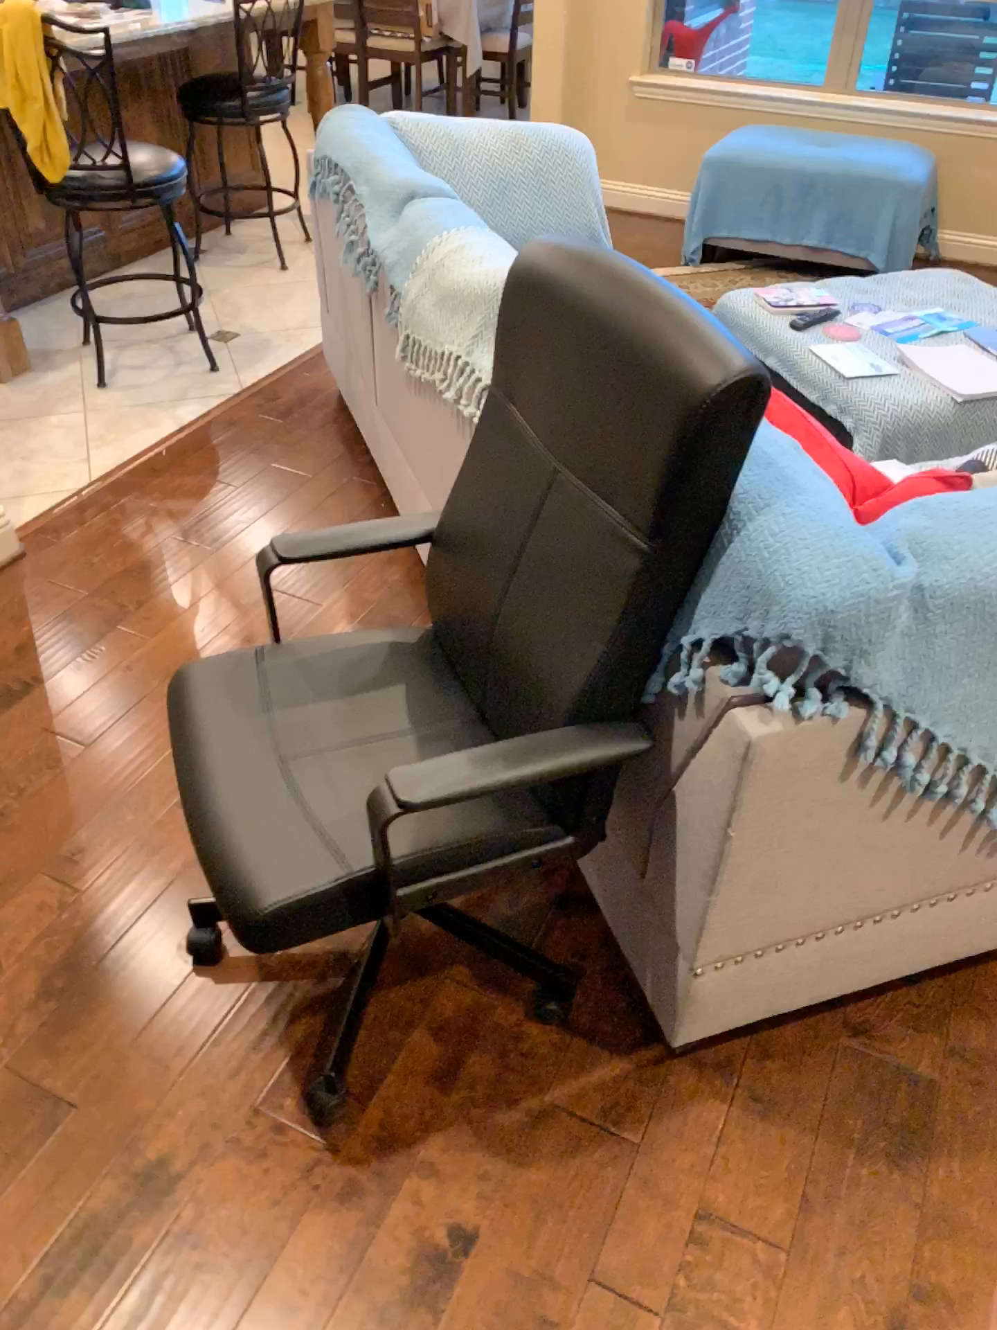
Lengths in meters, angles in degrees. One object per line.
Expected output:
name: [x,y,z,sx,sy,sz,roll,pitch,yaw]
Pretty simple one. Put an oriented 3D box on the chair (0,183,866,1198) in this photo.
chair: [-0.161,0.010,1.404,0.759,1.037,0.738,-13,41,-17]
